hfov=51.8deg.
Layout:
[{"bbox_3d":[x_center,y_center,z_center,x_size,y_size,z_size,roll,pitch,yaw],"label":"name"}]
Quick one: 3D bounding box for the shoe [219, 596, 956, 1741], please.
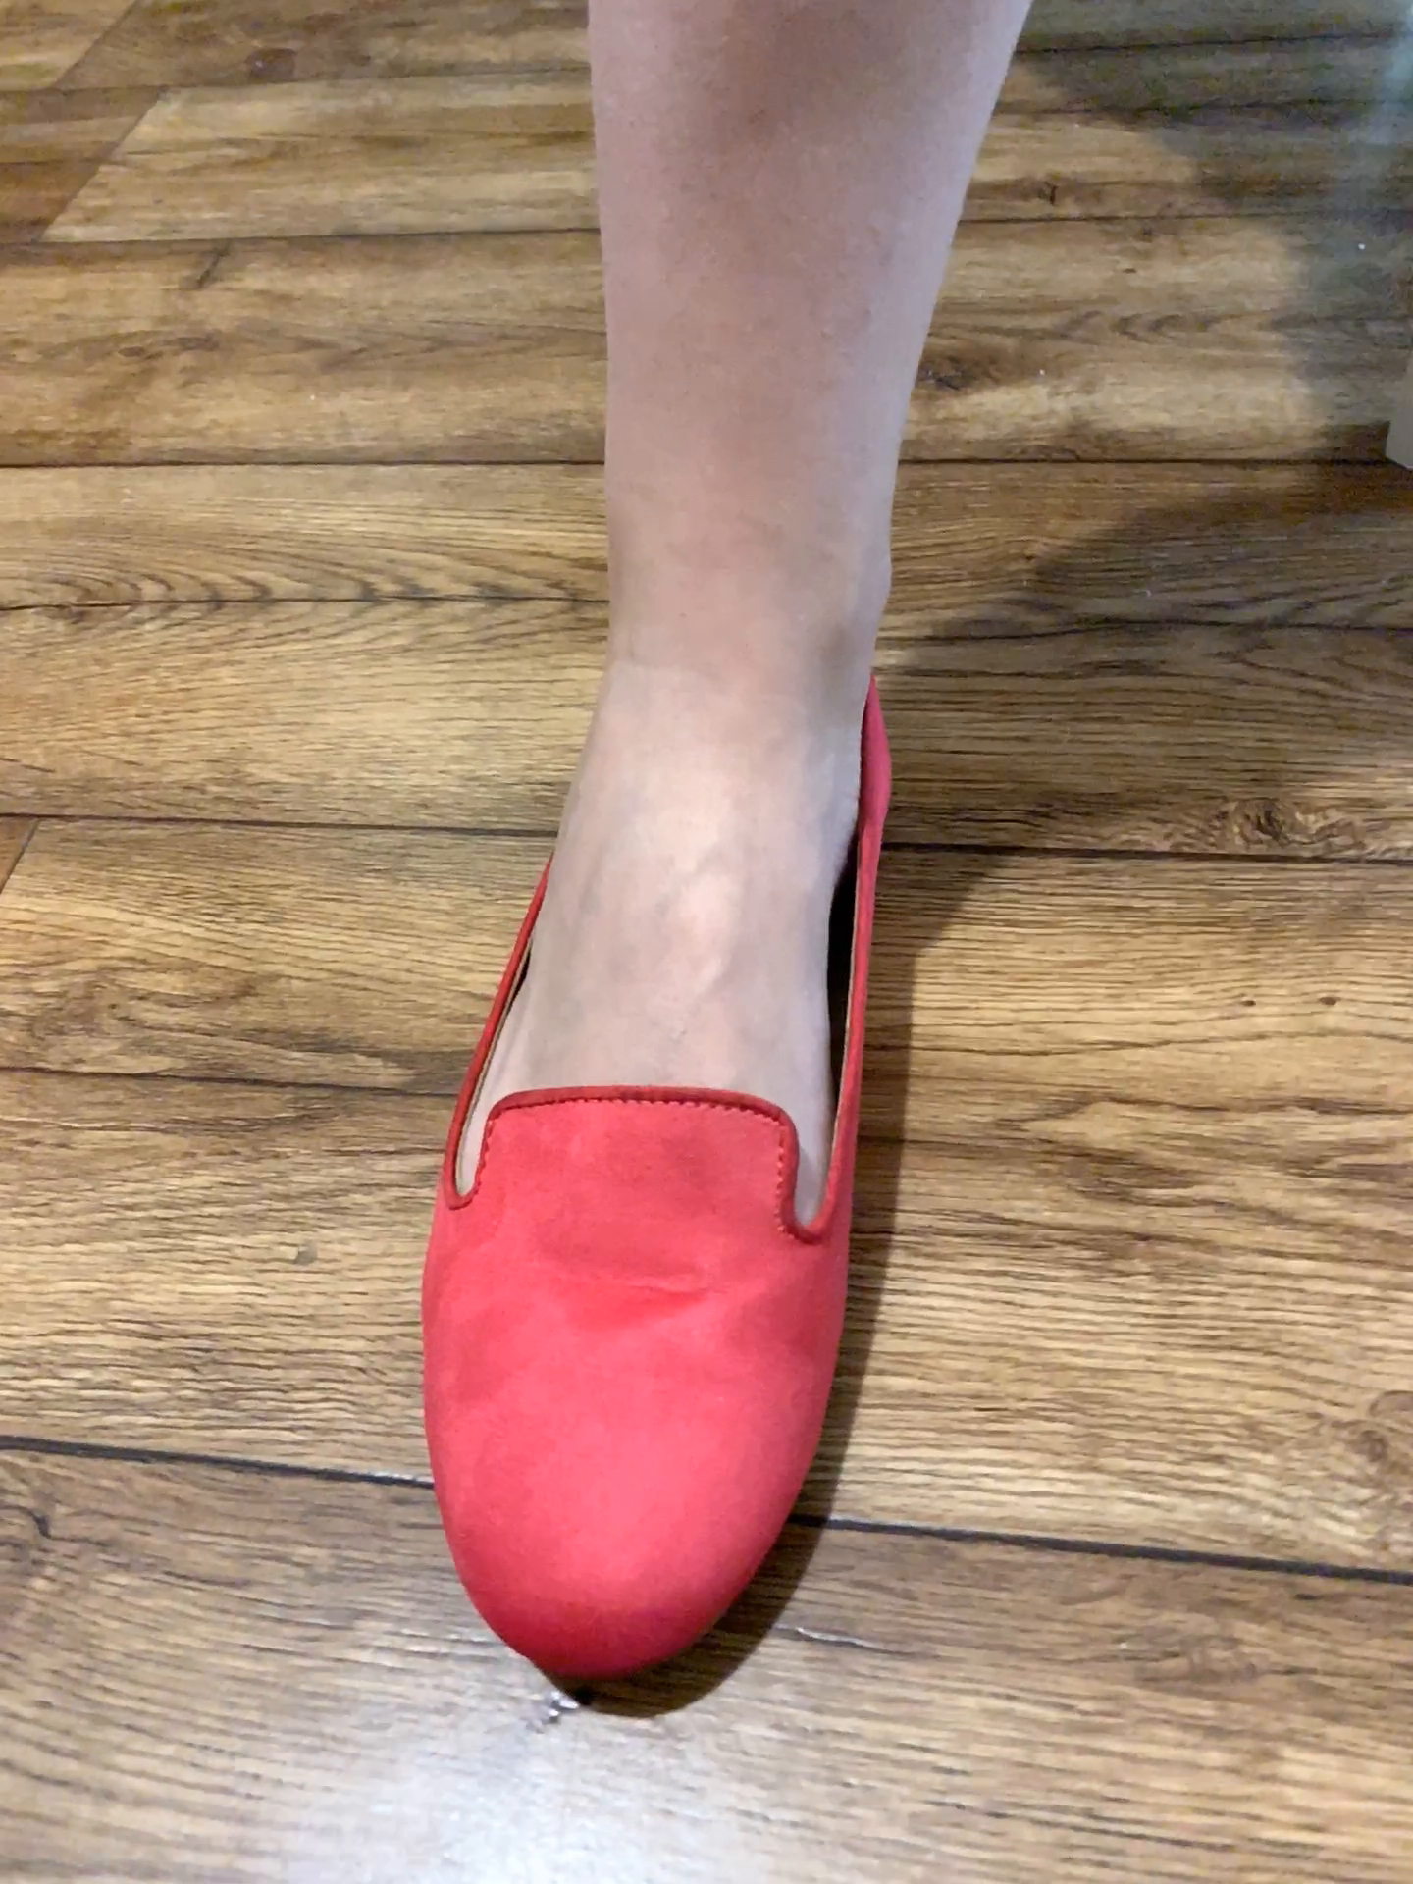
[{"bbox_3d":[-0.005,0.025,0.295,0.086,0.060,0.221,6,52,11],"label":"shoe"}]
